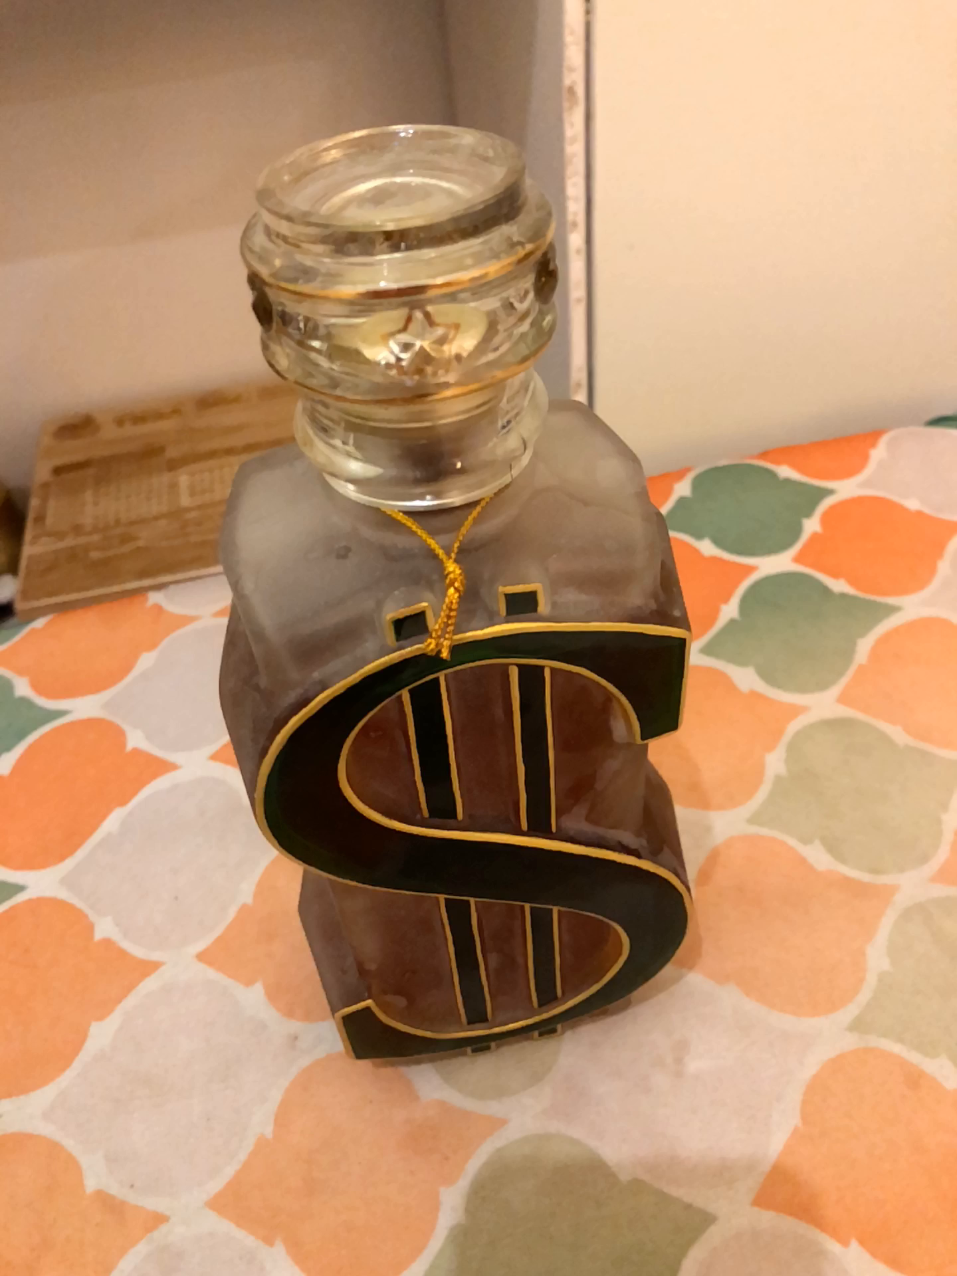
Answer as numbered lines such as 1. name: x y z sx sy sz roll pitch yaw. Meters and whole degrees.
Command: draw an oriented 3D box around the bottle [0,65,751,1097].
1. bottle: -0.010 0.014 0.241 0.100 0.233 0.064 -13 46 -6
